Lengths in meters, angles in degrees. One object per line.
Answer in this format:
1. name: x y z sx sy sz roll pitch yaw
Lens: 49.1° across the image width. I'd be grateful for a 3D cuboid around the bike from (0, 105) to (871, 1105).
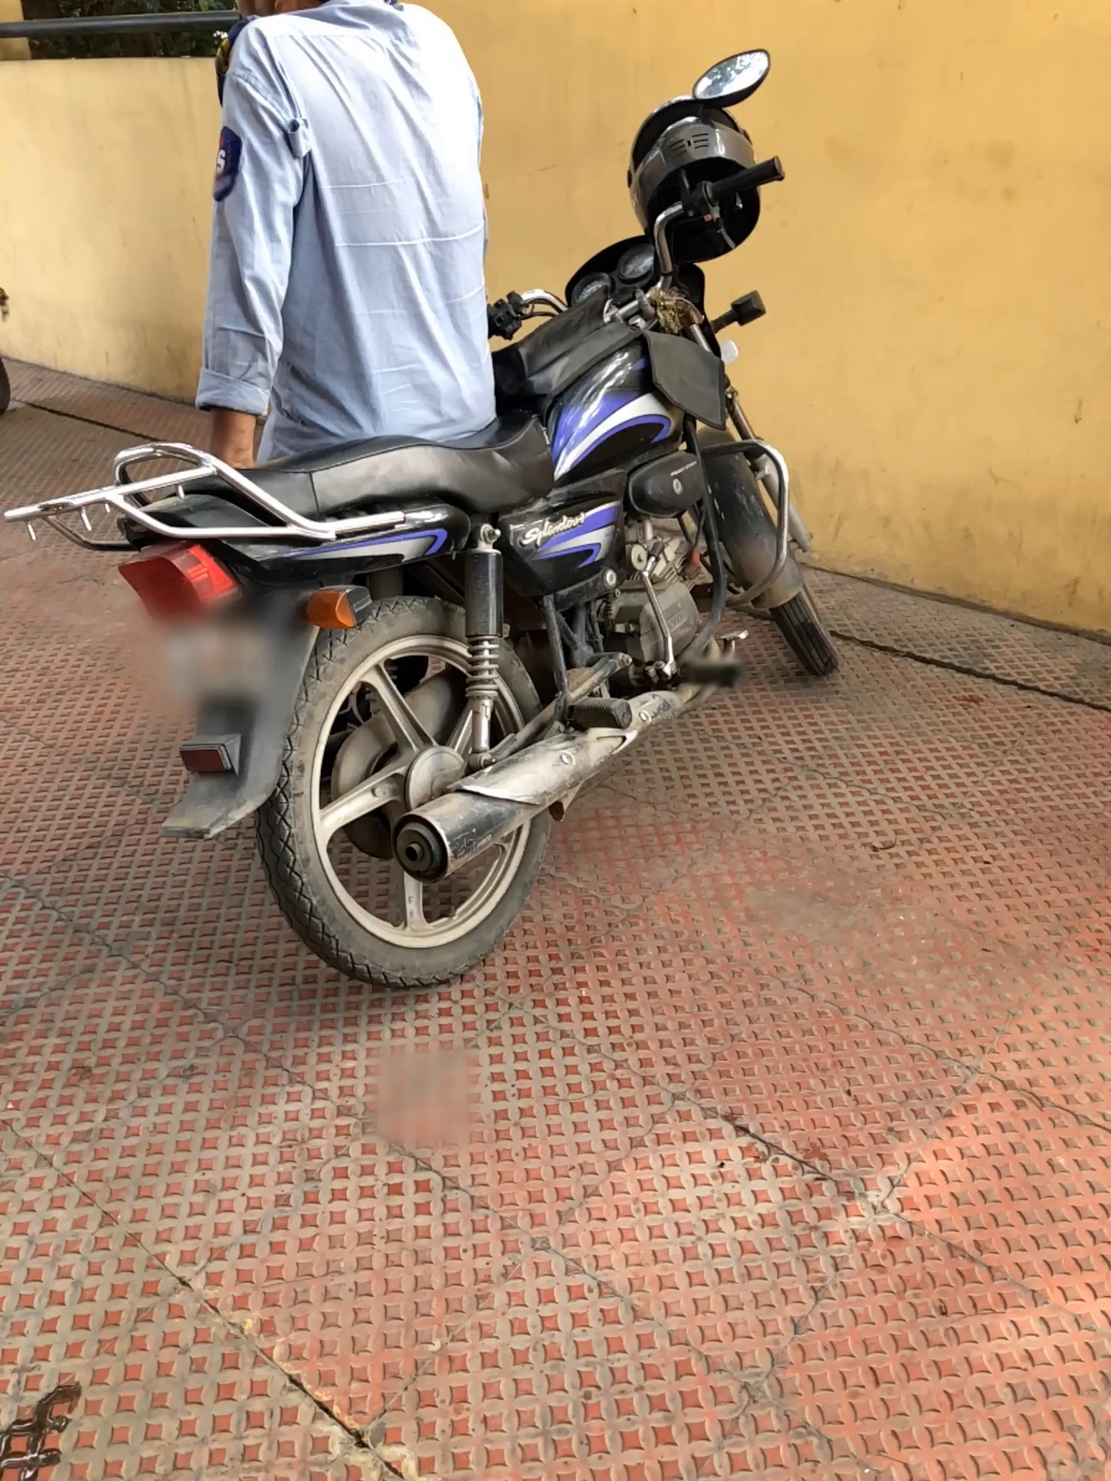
1. bike: -0.137 -0.484 2.170 0.920 1.007 1.685 13 34 23
